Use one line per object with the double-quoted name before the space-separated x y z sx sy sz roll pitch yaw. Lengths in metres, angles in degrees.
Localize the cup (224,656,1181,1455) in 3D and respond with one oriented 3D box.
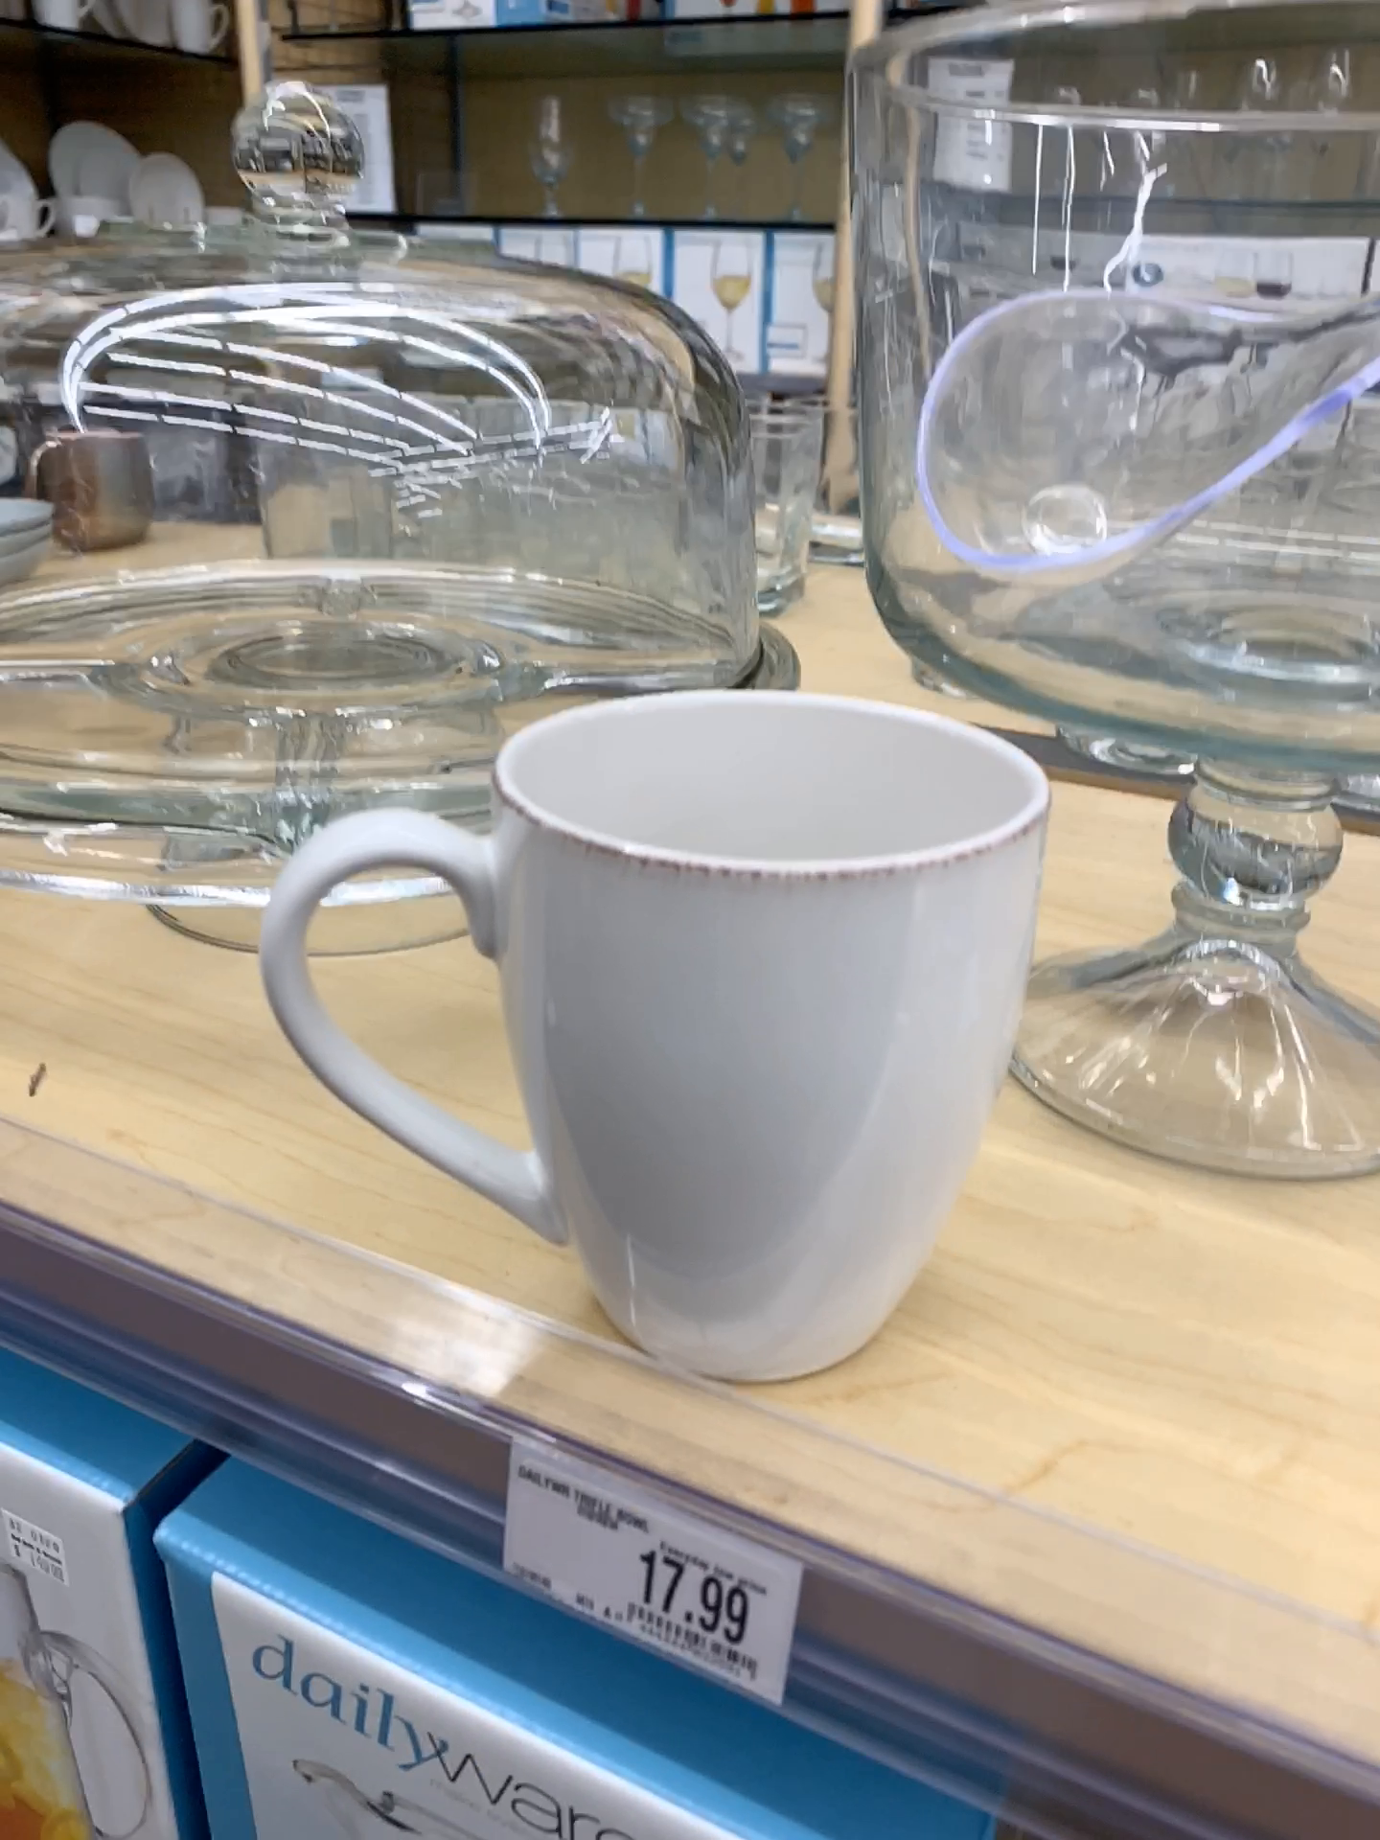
"cup" -0.005 0.015 0.252 0.130 0.094 0.096 -3 28 -11
